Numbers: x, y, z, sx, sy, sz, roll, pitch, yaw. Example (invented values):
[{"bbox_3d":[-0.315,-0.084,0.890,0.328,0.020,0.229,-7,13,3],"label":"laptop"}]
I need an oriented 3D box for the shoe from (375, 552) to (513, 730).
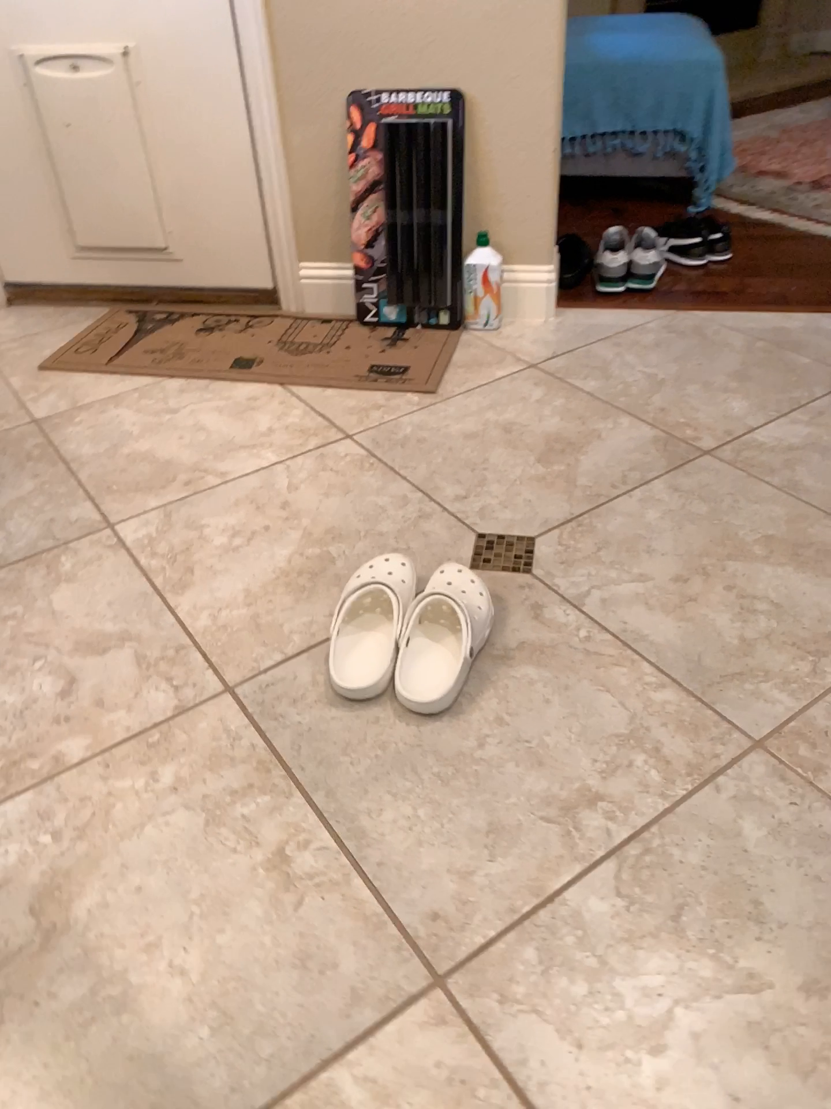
[{"bbox_3d":[0.048,0.111,1.191,0.129,0.073,0.262,8,39,14],"label":"shoe"}]

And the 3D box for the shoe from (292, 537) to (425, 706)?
[{"bbox_3d":[-0.072,0.086,1.214,0.119,0.073,0.262,6,38,12],"label":"shoe"}]
